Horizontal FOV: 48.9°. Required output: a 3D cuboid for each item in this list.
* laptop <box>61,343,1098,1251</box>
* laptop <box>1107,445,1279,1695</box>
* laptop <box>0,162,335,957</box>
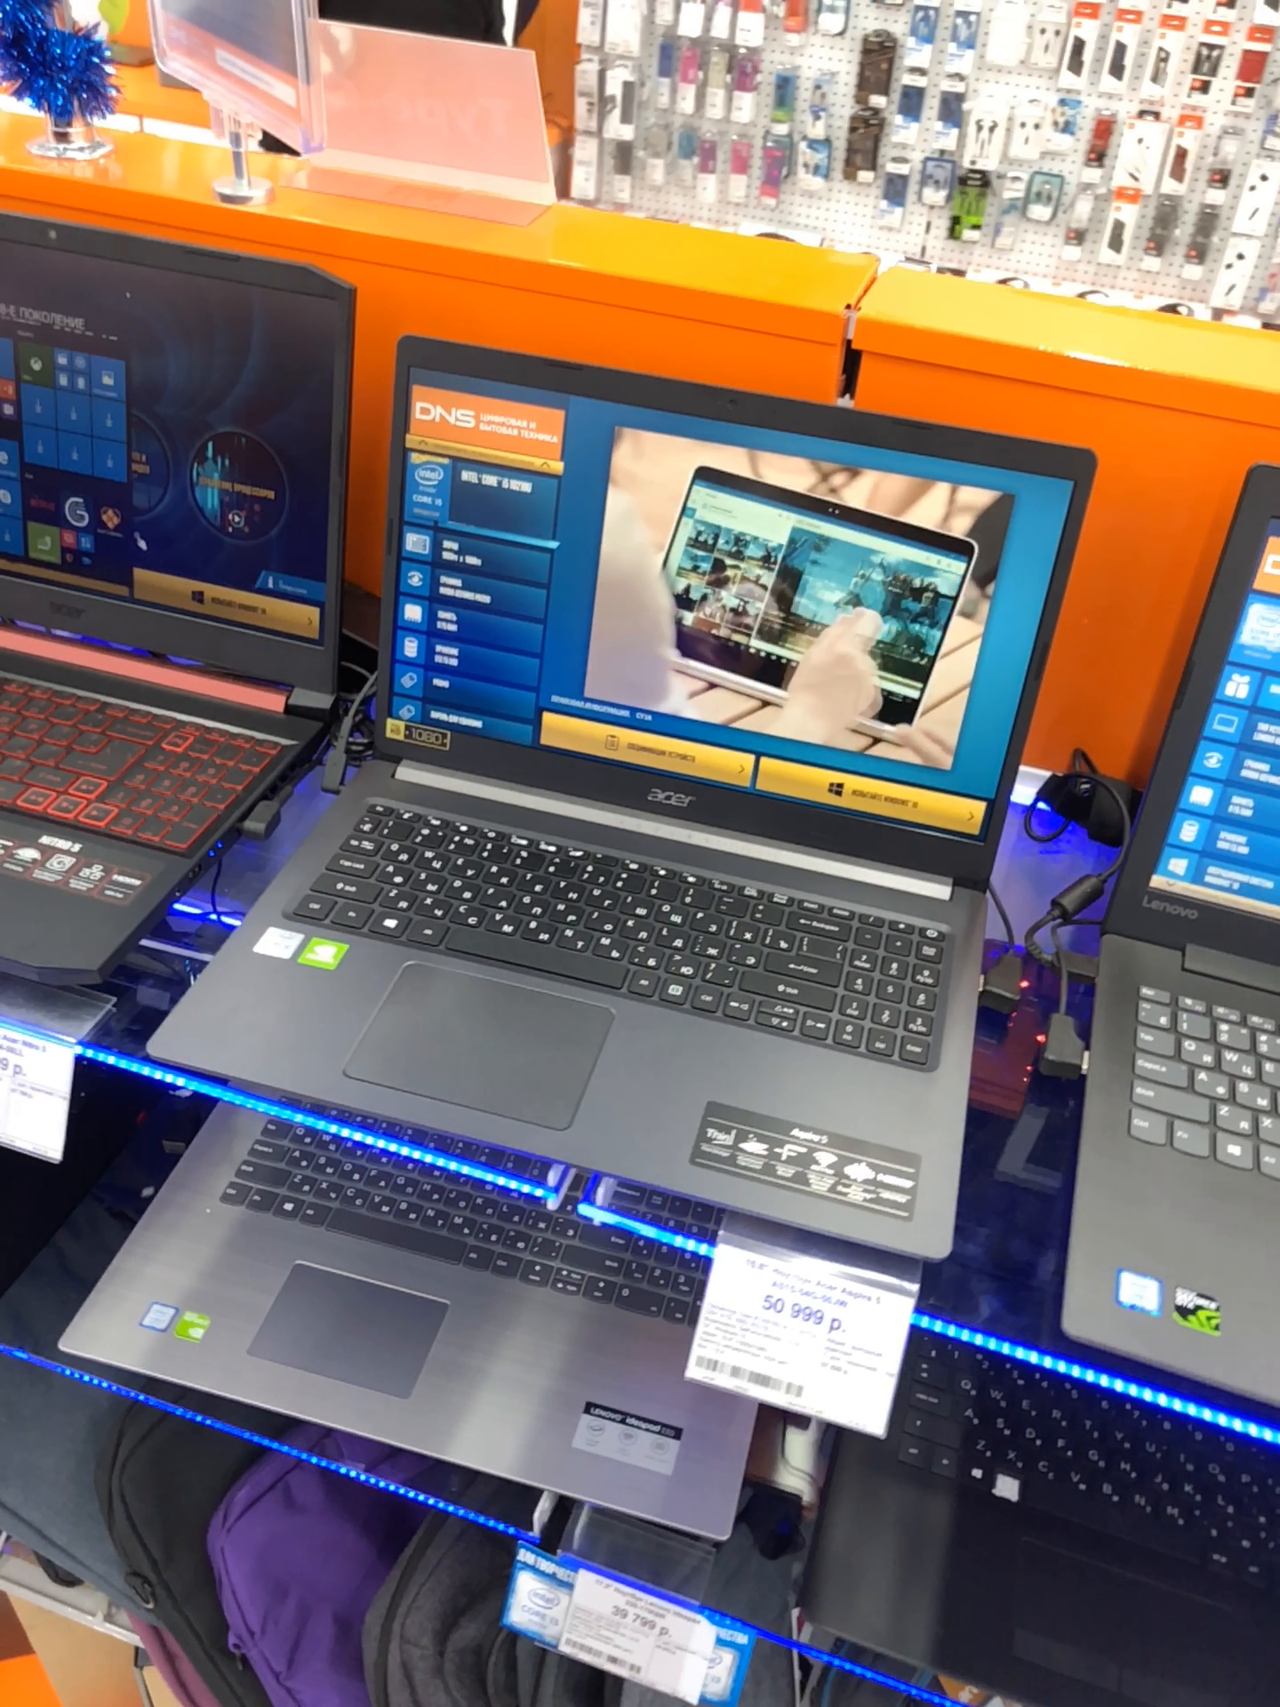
[{"bbox_3d":[0.000,-0.051,0.649,0.353,0.224,0.304,12,38,9],"label":"laptop"},{"bbox_3d":[0.395,0.045,0.562,0.349,0.230,0.324,14,40,11],"label":"laptop"},{"bbox_3d":[-0.367,-0.170,0.729,0.309,0.230,0.302,13,38,7],"label":"laptop"}]
